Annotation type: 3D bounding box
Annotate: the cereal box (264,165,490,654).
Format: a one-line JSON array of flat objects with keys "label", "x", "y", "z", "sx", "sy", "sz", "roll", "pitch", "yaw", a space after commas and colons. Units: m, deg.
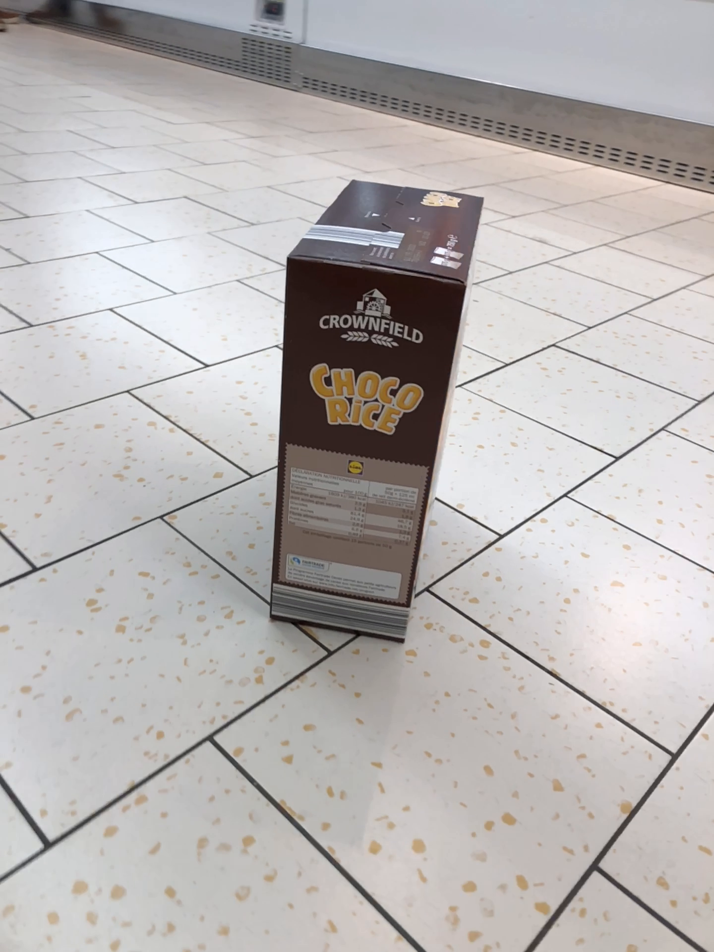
[{"label": "cereal box", "x": 0.016, "y": -0.053, "z": 0.550, "sx": 0.100, "sy": 0.268, "sz": 0.201, "roll": 10, "pitch": 32, "yaw": 6}]
